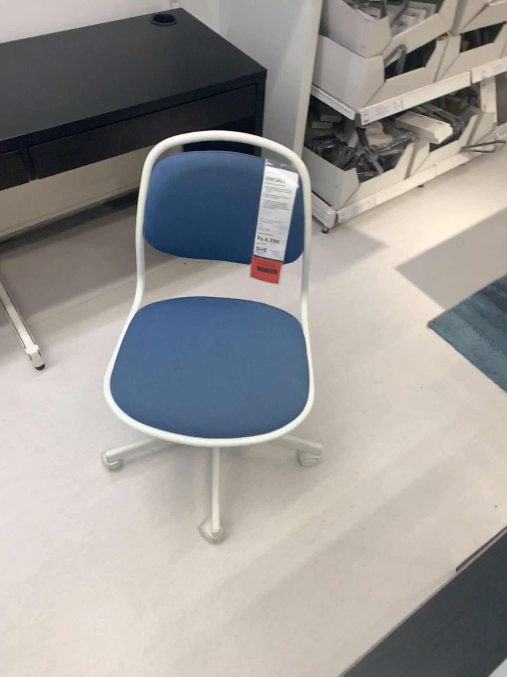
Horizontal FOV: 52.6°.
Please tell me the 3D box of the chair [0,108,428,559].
[{"bbox_3d":[-0.087,0.039,1.170,0.640,0.798,0.602,5,51,1],"label":"chair"}]
